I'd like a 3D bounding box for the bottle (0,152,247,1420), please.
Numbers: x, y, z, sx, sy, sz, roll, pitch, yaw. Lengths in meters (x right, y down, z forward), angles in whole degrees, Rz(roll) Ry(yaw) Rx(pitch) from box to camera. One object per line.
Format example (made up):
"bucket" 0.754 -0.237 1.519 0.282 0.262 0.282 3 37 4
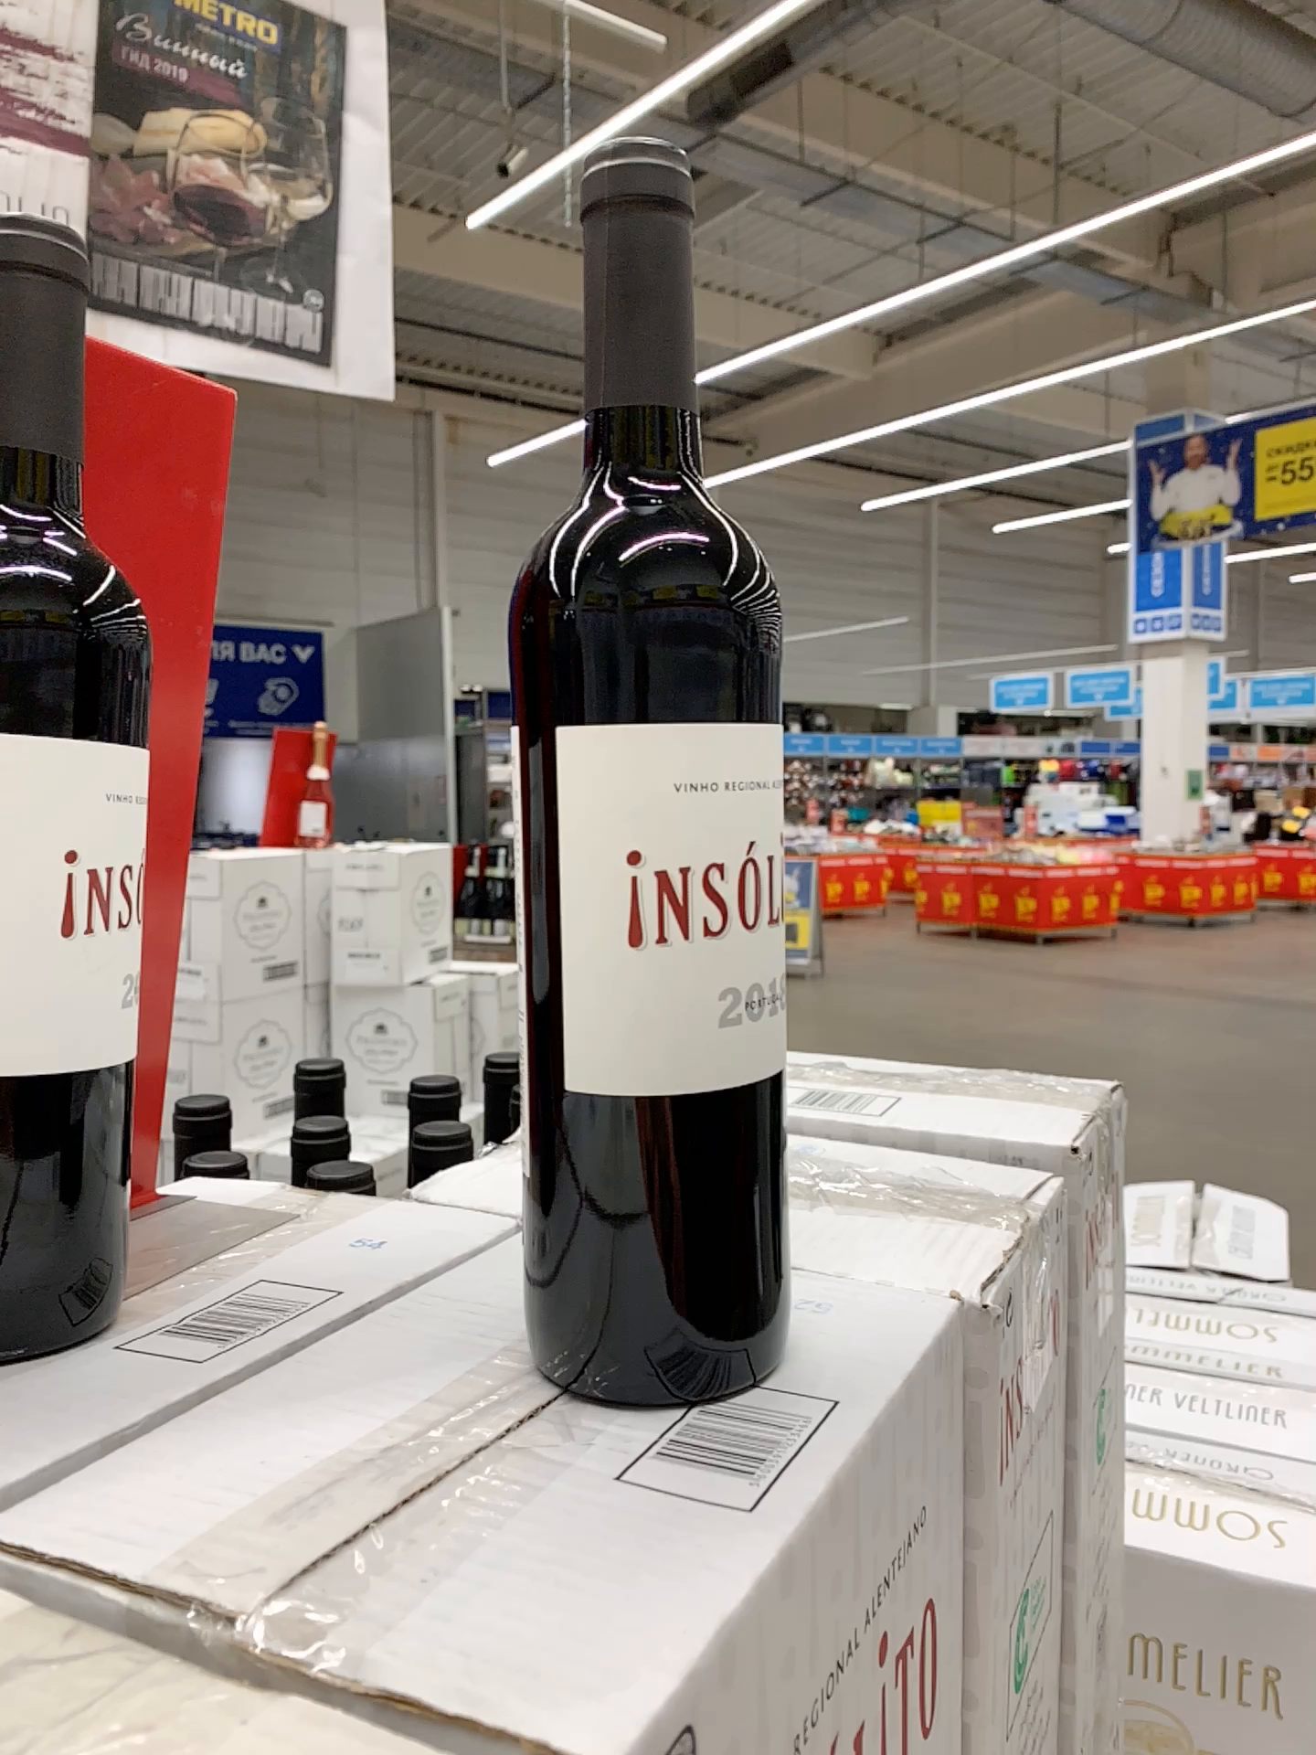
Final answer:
"bottle" -0.193 -0.026 0.394 0.090 0.320 0.090 5 2 0

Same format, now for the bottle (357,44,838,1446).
"bottle" -0.013 -0.030 0.363 0.090 0.310 0.090 0 3 0
